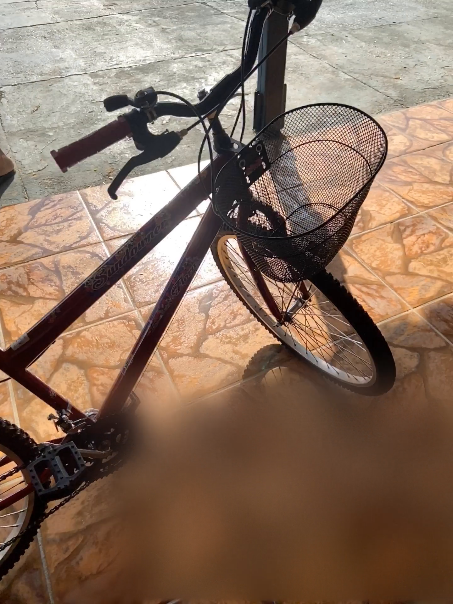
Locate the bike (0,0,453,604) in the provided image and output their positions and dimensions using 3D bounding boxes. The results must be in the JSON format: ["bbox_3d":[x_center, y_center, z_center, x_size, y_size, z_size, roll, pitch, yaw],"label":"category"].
[{"bbox_3d":[-0.319,0.161,0.814,1.409,1.081,0.551,-18,49,-16],"label":"bike"}]
